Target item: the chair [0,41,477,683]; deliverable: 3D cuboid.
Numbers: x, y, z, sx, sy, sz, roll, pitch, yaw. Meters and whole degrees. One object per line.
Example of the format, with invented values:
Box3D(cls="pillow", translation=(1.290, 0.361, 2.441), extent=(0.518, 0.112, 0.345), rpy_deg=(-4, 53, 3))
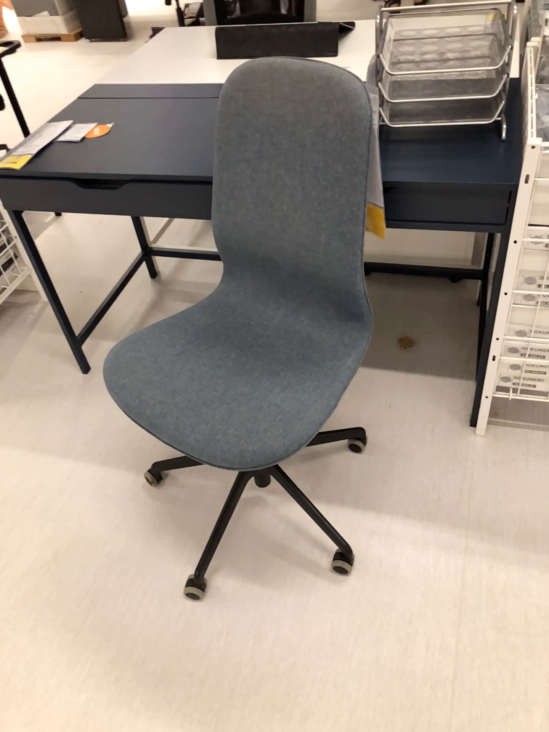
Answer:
Box3D(cls="chair", translation=(-0.098, -0.022, 1.233), extent=(0.642, 0.934, 0.682), rpy_deg=(26, 53, 32))
